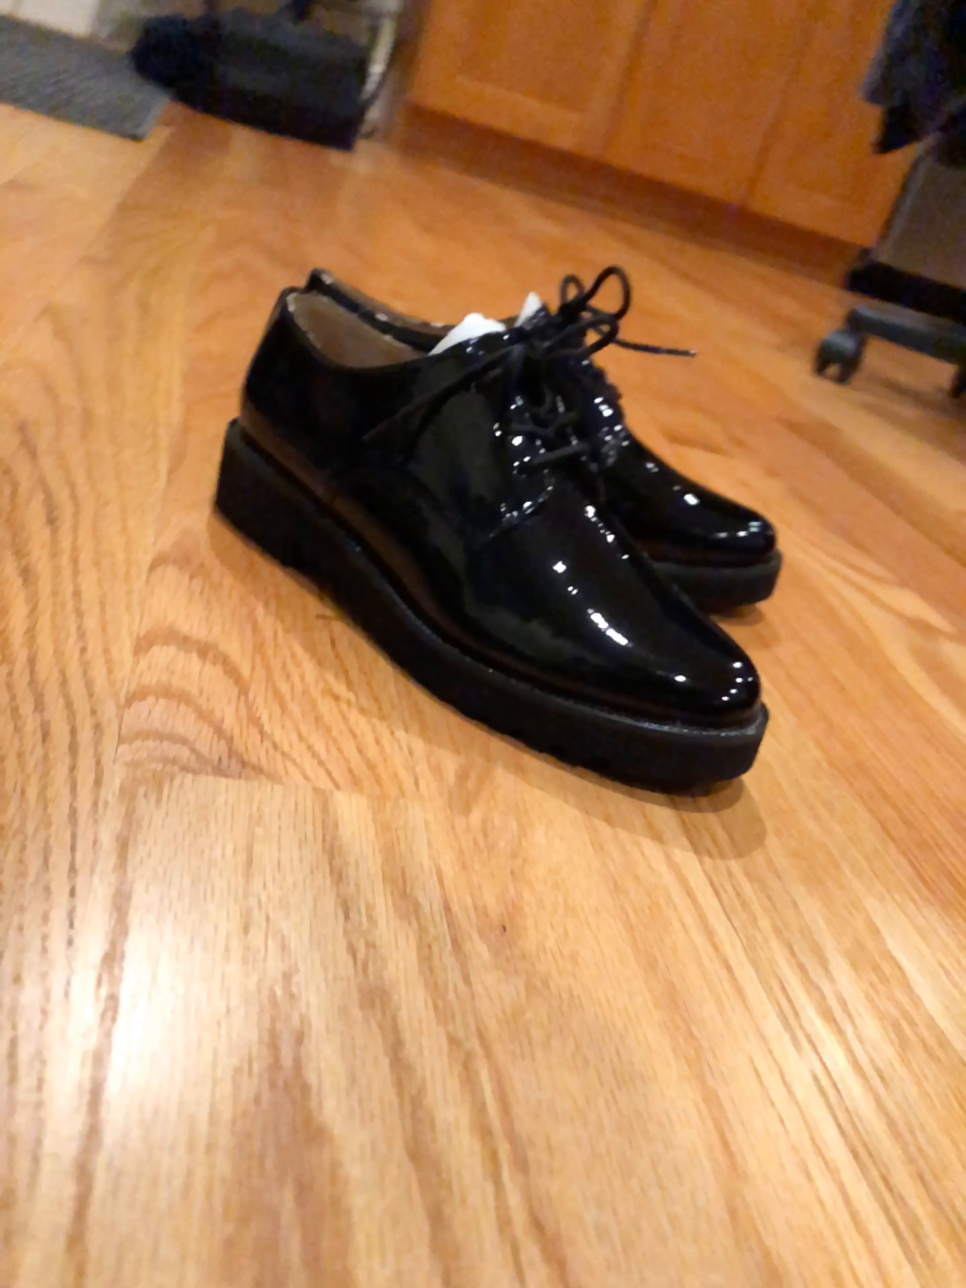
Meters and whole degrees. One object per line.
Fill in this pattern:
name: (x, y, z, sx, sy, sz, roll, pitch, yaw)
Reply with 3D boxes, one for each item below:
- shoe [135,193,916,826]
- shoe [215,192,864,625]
shoe: (-0.003, -0.064, 0.375, 0.252, 0.101, 0.095, 34, 31, 29)
shoe: (0.023, -0.111, 0.486, 0.251, 0.101, 0.096, 18, 27, 1)
